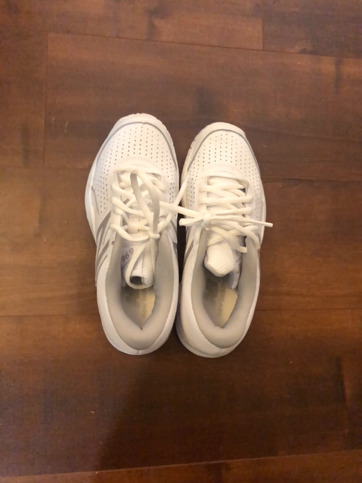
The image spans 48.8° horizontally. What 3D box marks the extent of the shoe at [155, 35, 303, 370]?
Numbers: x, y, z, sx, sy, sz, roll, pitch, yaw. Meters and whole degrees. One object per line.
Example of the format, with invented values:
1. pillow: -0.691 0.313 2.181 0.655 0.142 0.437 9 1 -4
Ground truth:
1. shoe: 0.044 -0.033 0.459 0.120 0.170 0.310 4 83 -6

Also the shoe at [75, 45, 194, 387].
1. shoe: -0.049 -0.022 0.428 0.100 0.130 0.310 2 84 -9
